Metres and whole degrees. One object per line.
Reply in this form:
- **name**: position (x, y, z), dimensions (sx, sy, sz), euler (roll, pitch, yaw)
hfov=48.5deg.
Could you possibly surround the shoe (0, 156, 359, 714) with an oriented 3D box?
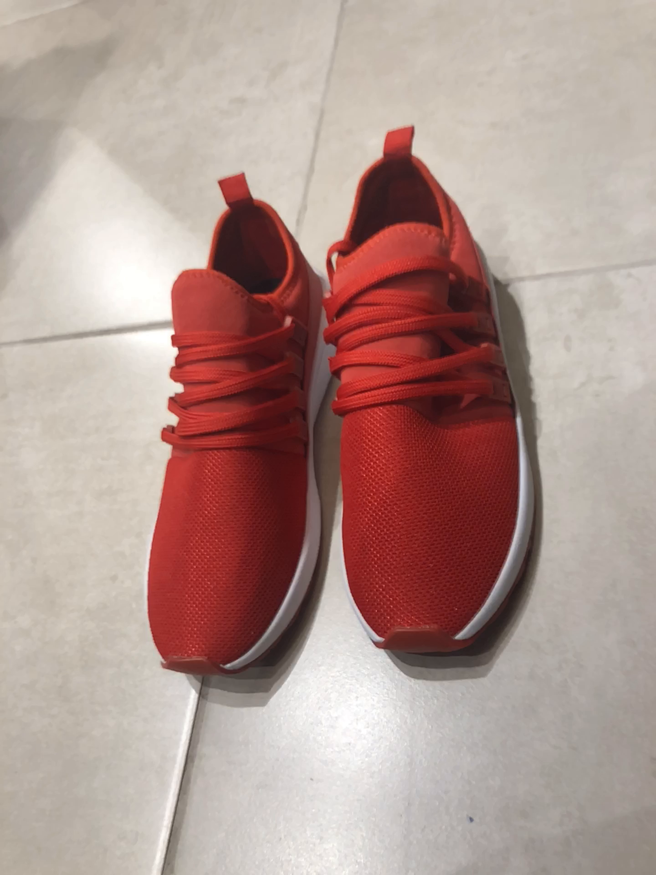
- **shoe**: position (-0.062, -0.005, 0.410), dimensions (0.100, 0.139, 0.271), euler (-4, 56, 18)

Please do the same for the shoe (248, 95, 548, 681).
- **shoe**: position (0.046, -0.029, 0.388), dimensions (0.100, 0.139, 0.271), euler (-7, 55, 16)
